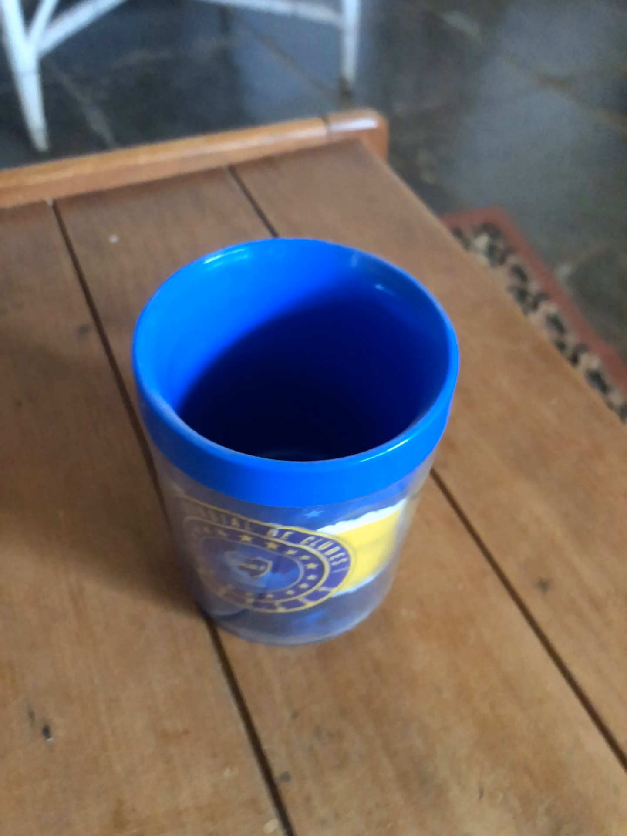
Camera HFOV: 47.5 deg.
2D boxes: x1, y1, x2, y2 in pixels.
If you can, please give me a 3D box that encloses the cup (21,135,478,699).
[{"bbox_3d":[-0.008,0.000,0.221,0.090,0.109,0.121,9,51,3],"label":"cup"}]
